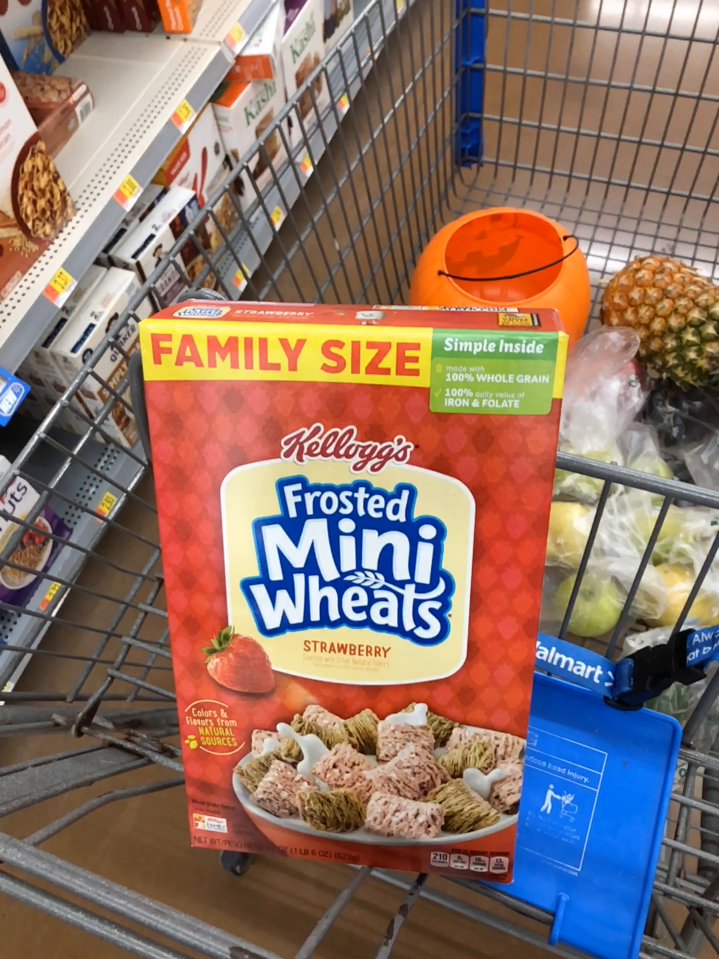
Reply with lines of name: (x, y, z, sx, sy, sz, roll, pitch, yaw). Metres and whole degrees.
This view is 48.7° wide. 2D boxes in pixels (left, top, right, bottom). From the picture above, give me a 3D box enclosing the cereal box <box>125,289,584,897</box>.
cereal box: (0.000, 0.065, 0.431, 0.200, 0.320, 0.070, 3, 21, 8)
